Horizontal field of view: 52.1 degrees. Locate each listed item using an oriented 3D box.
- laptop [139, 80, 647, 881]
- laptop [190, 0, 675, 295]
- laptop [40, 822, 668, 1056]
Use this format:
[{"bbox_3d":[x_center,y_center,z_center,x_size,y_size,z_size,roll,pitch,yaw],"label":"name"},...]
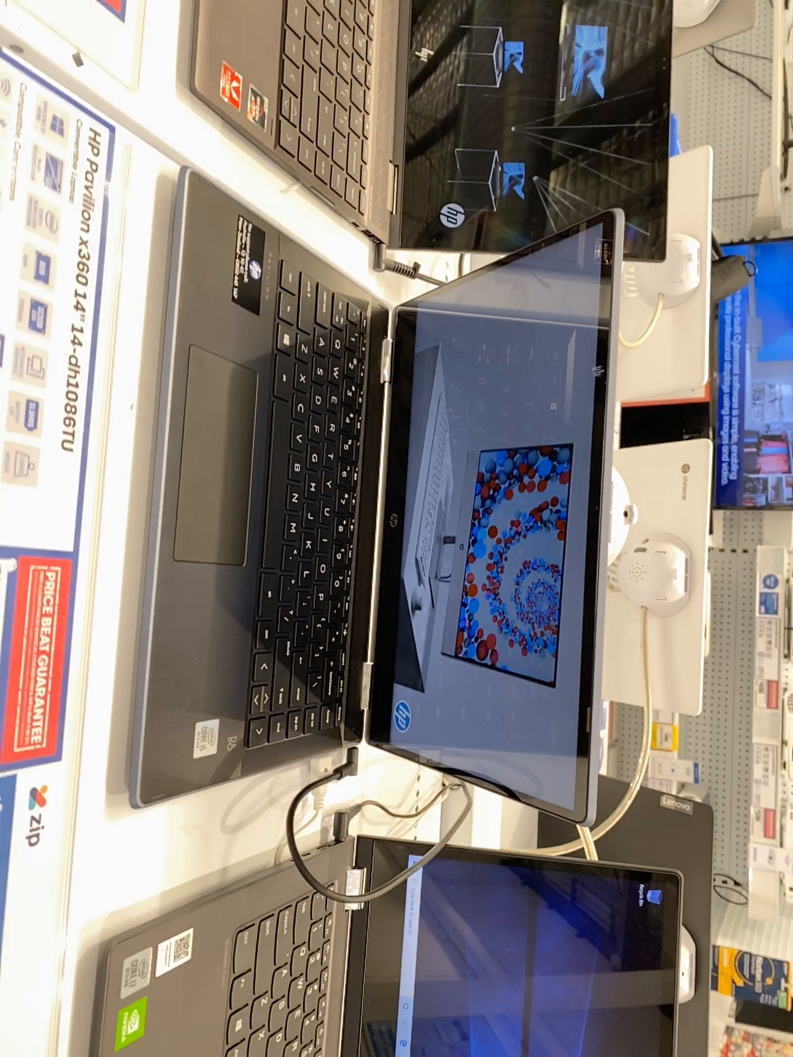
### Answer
[{"bbox_3d":[0.017,-0.016,0.453,0.212,0.189,0.313,10,82,-62],"label":"laptop"},{"bbox_3d":[0.059,-0.374,0.533,0.326,0.173,0.325,11,79,-60],"label":"laptop"},{"bbox_3d":[0.016,0.366,0.446,0.296,0.199,0.306,15,76,-61],"label":"laptop"}]
